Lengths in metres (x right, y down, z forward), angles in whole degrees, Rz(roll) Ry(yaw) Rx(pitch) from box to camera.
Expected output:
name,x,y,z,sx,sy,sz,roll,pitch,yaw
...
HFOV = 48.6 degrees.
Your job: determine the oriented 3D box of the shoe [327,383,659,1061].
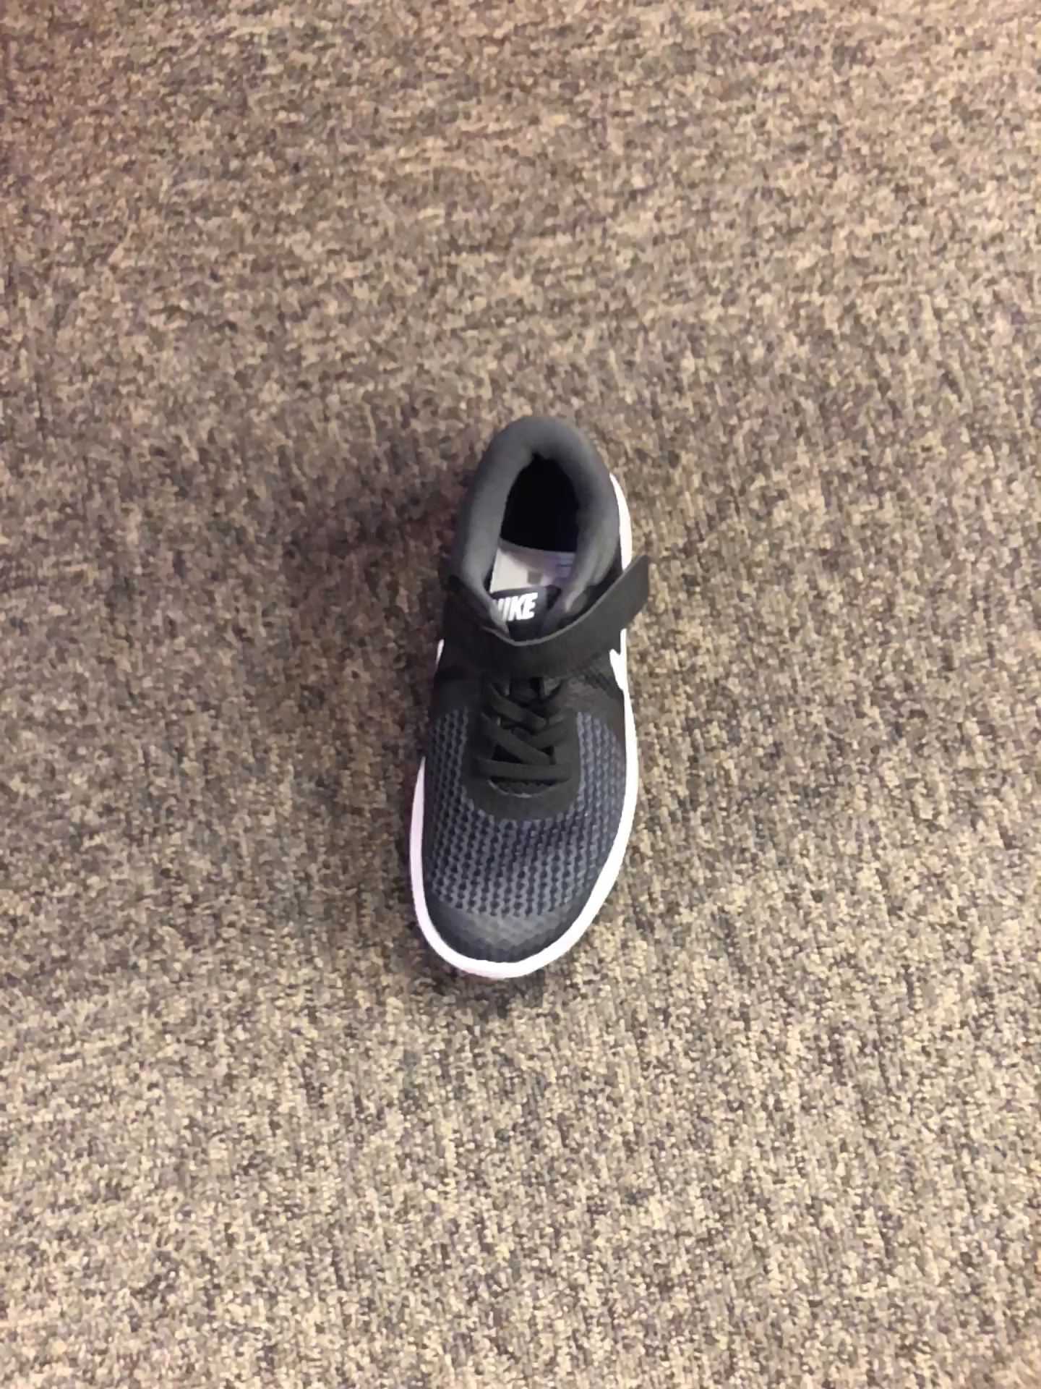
name,x,y,z,sx,sy,sz,roll,pitch,yaw
shoe,-0.006,0.010,0.416,0.090,0.080,0.217,5,80,1
